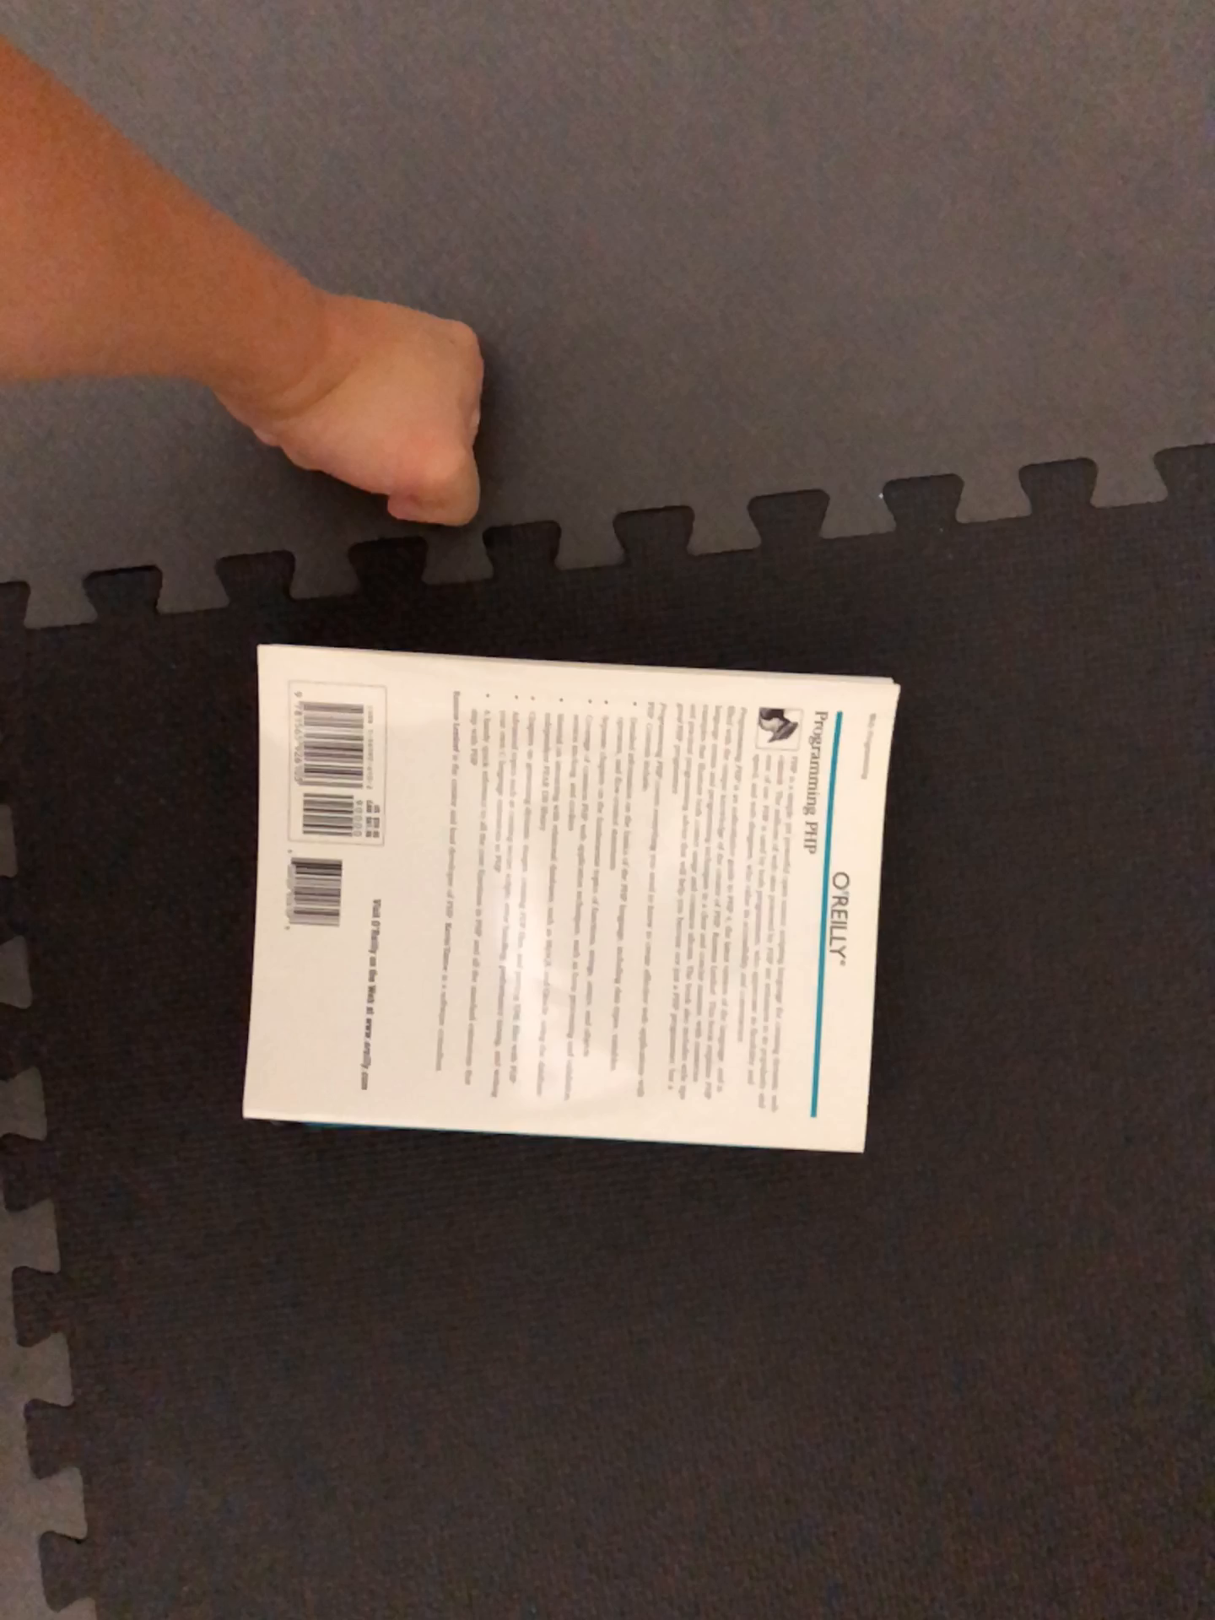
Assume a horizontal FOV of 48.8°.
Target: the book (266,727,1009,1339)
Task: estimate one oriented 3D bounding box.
[{"bbox_3d":[0.012,0.091,0.572,0.290,0.040,0.230,4,90,2],"label":"book"}]
